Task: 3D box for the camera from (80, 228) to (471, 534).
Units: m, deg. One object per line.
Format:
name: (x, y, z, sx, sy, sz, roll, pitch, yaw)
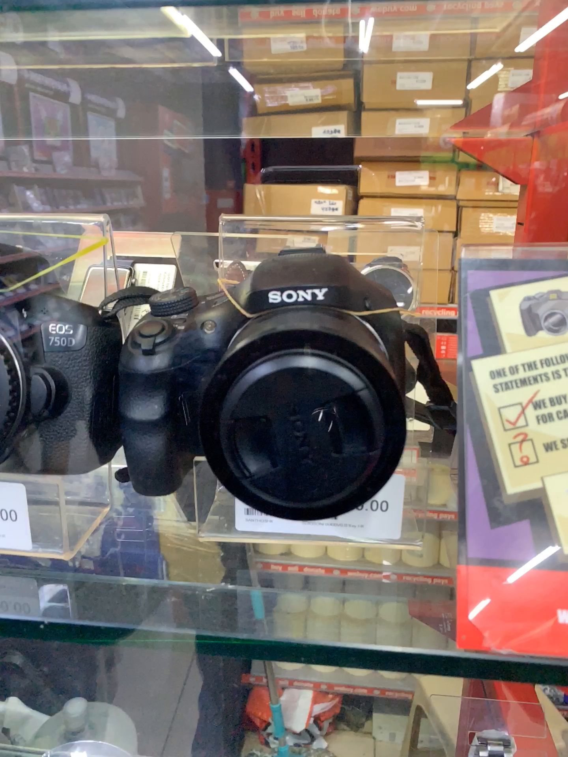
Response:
camera: (-0.002, -0.007, 0.237, 0.120, 0.100, 0.090, 1, 17, 2)
